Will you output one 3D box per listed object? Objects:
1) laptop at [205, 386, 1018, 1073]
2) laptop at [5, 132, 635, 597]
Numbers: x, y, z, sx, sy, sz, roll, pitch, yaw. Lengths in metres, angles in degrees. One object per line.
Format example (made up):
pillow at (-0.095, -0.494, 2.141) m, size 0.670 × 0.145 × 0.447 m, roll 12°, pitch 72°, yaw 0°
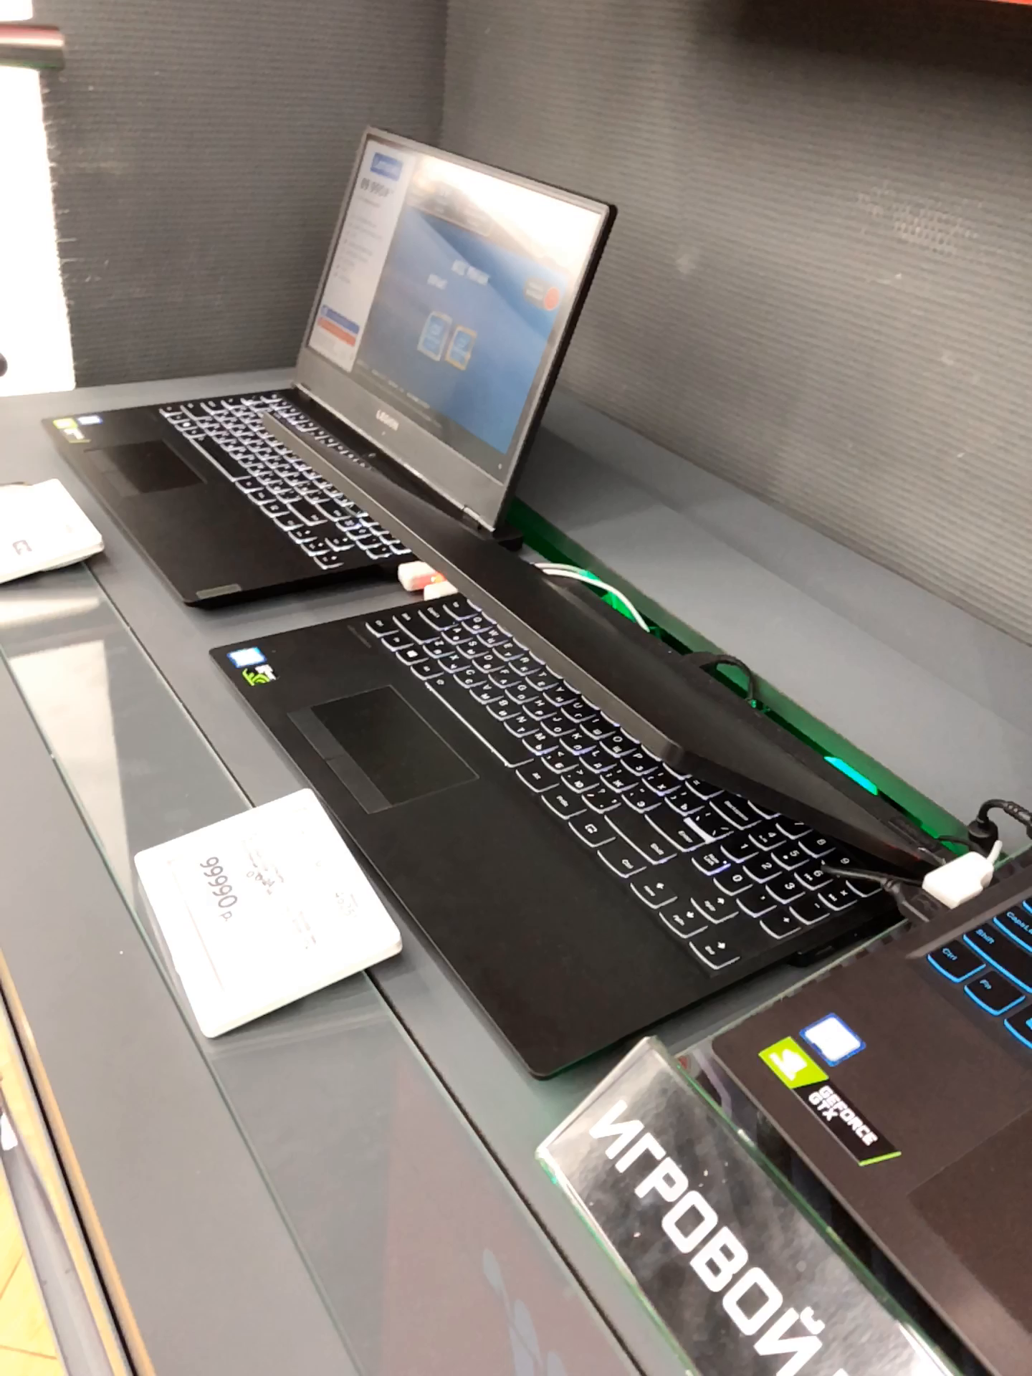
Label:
laptop at (0.016, -0.022, 0.580) m, size 0.227 × 0.136 × 0.354 m, roll -15°, pitch 38°, yaw -30°
laptop at (-0.169, -0.277, 0.874) m, size 0.307 × 0.231 × 0.365 m, roll -15°, pitch 37°, yaw -28°
